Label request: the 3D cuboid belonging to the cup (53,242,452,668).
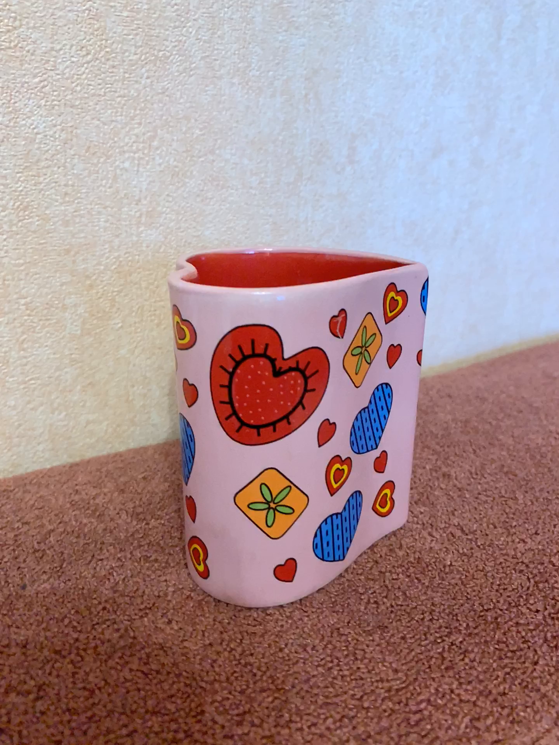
[{"bbox_3d":[-0.006,0.011,0.187,0.082,0.091,0.085,0,18,0],"label":"cup"}]
